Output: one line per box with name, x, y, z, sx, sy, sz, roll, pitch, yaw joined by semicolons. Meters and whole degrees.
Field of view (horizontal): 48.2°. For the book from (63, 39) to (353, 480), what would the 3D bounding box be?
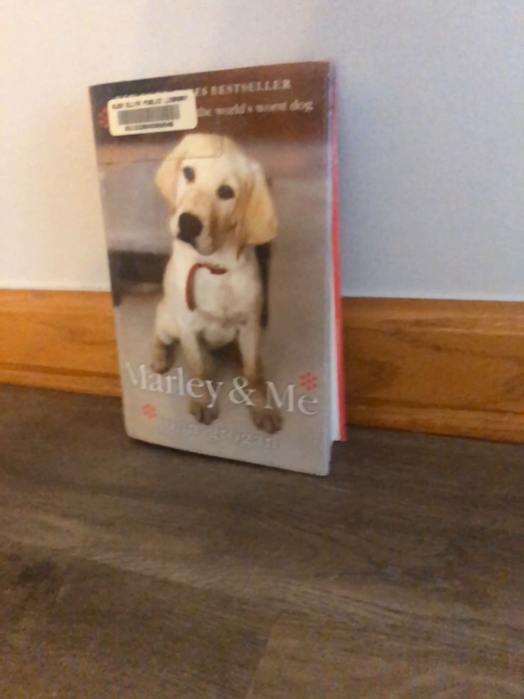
book;-0.028;-0.045;0.340;0.151;0.219;0.040;5;18;25
